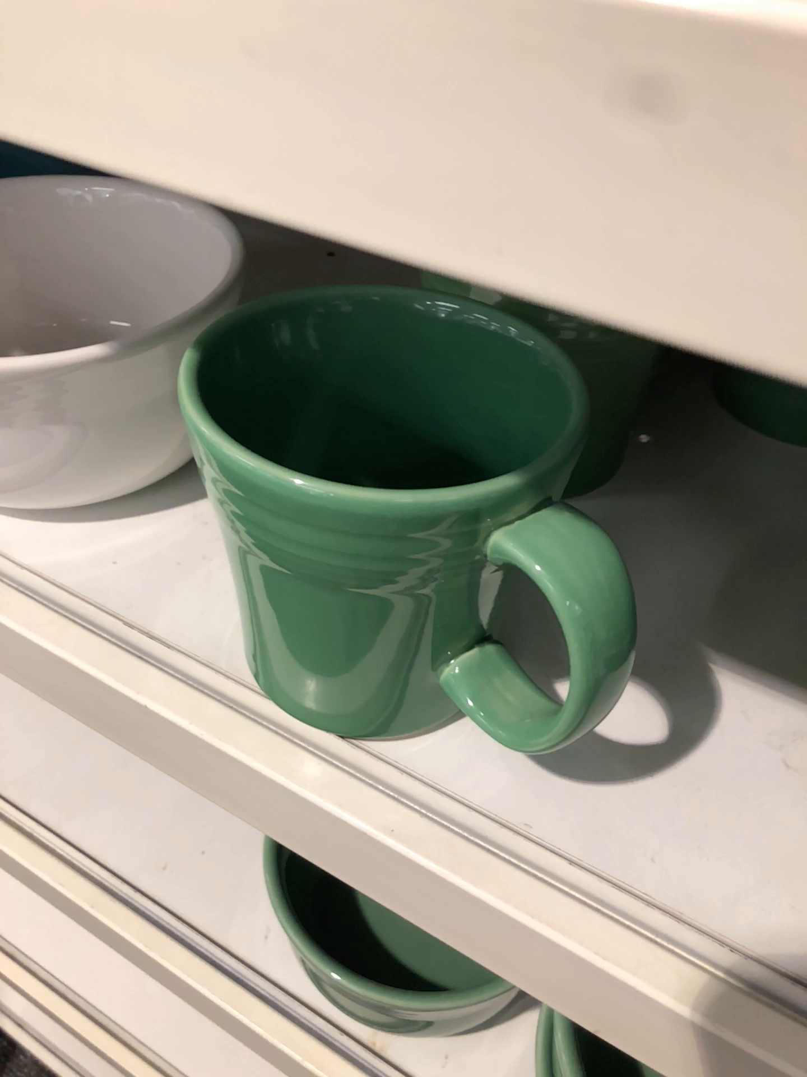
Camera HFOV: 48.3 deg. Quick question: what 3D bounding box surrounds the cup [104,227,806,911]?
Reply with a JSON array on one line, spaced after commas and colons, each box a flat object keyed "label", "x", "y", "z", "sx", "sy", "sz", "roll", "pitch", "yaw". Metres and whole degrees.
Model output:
[{"label": "cup", "x": 0.009, "y": -0.002, "z": 0.252, "sx": 0.107, "sy": 0.098, "sz": 0.134, "roll": -33, "pitch": 54, "yaw": -32}]
